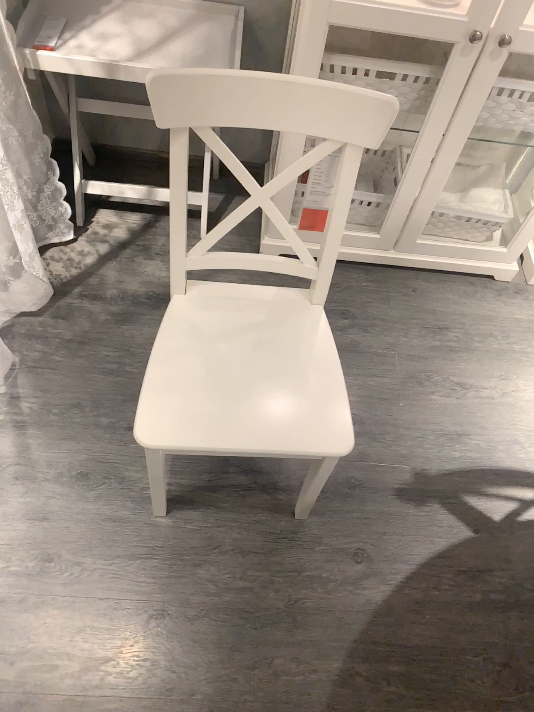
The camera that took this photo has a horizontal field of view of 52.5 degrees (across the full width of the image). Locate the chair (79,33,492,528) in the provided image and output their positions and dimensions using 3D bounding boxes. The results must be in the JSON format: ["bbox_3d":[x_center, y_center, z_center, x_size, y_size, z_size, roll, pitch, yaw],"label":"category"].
[{"bbox_3d":[-0.018,-0.037,1.064,0.440,0.858,0.491,4,57,-5],"label":"chair"}]
